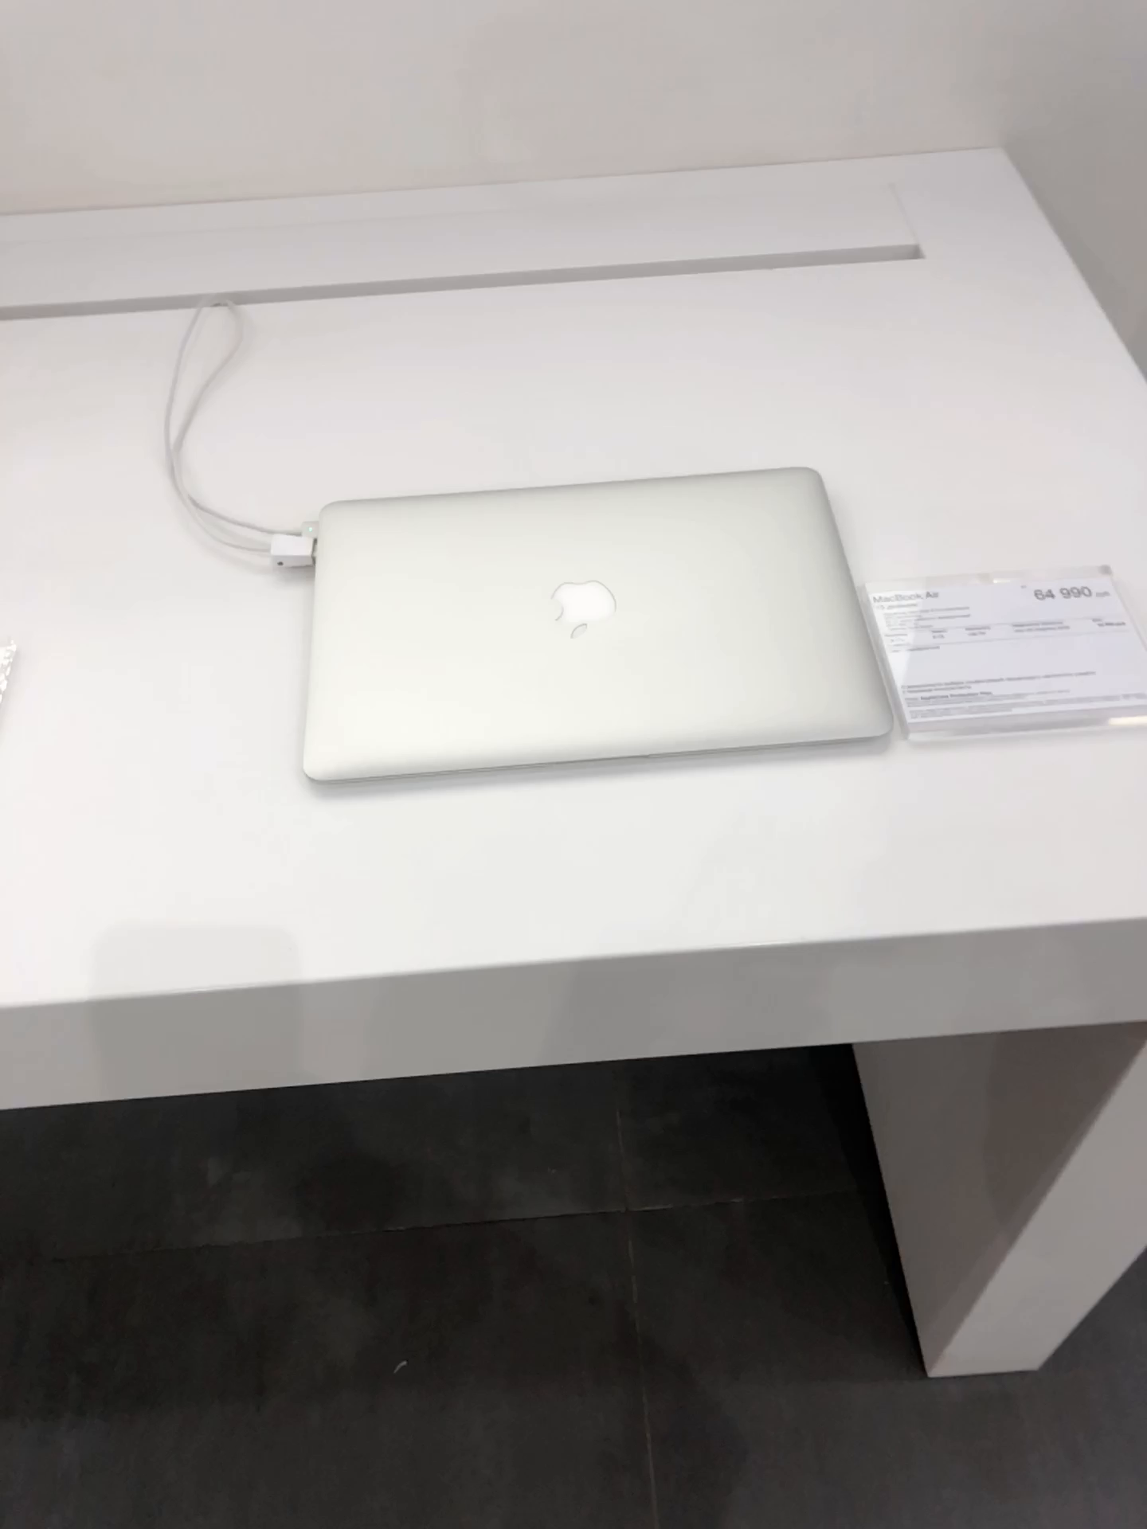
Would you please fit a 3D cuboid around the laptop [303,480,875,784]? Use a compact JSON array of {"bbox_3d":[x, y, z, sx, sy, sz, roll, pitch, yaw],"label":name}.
[{"bbox_3d":[0.002,-0.085,0.742,0.307,0.008,0.210,-4,52,-1],"label":"laptop"}]
